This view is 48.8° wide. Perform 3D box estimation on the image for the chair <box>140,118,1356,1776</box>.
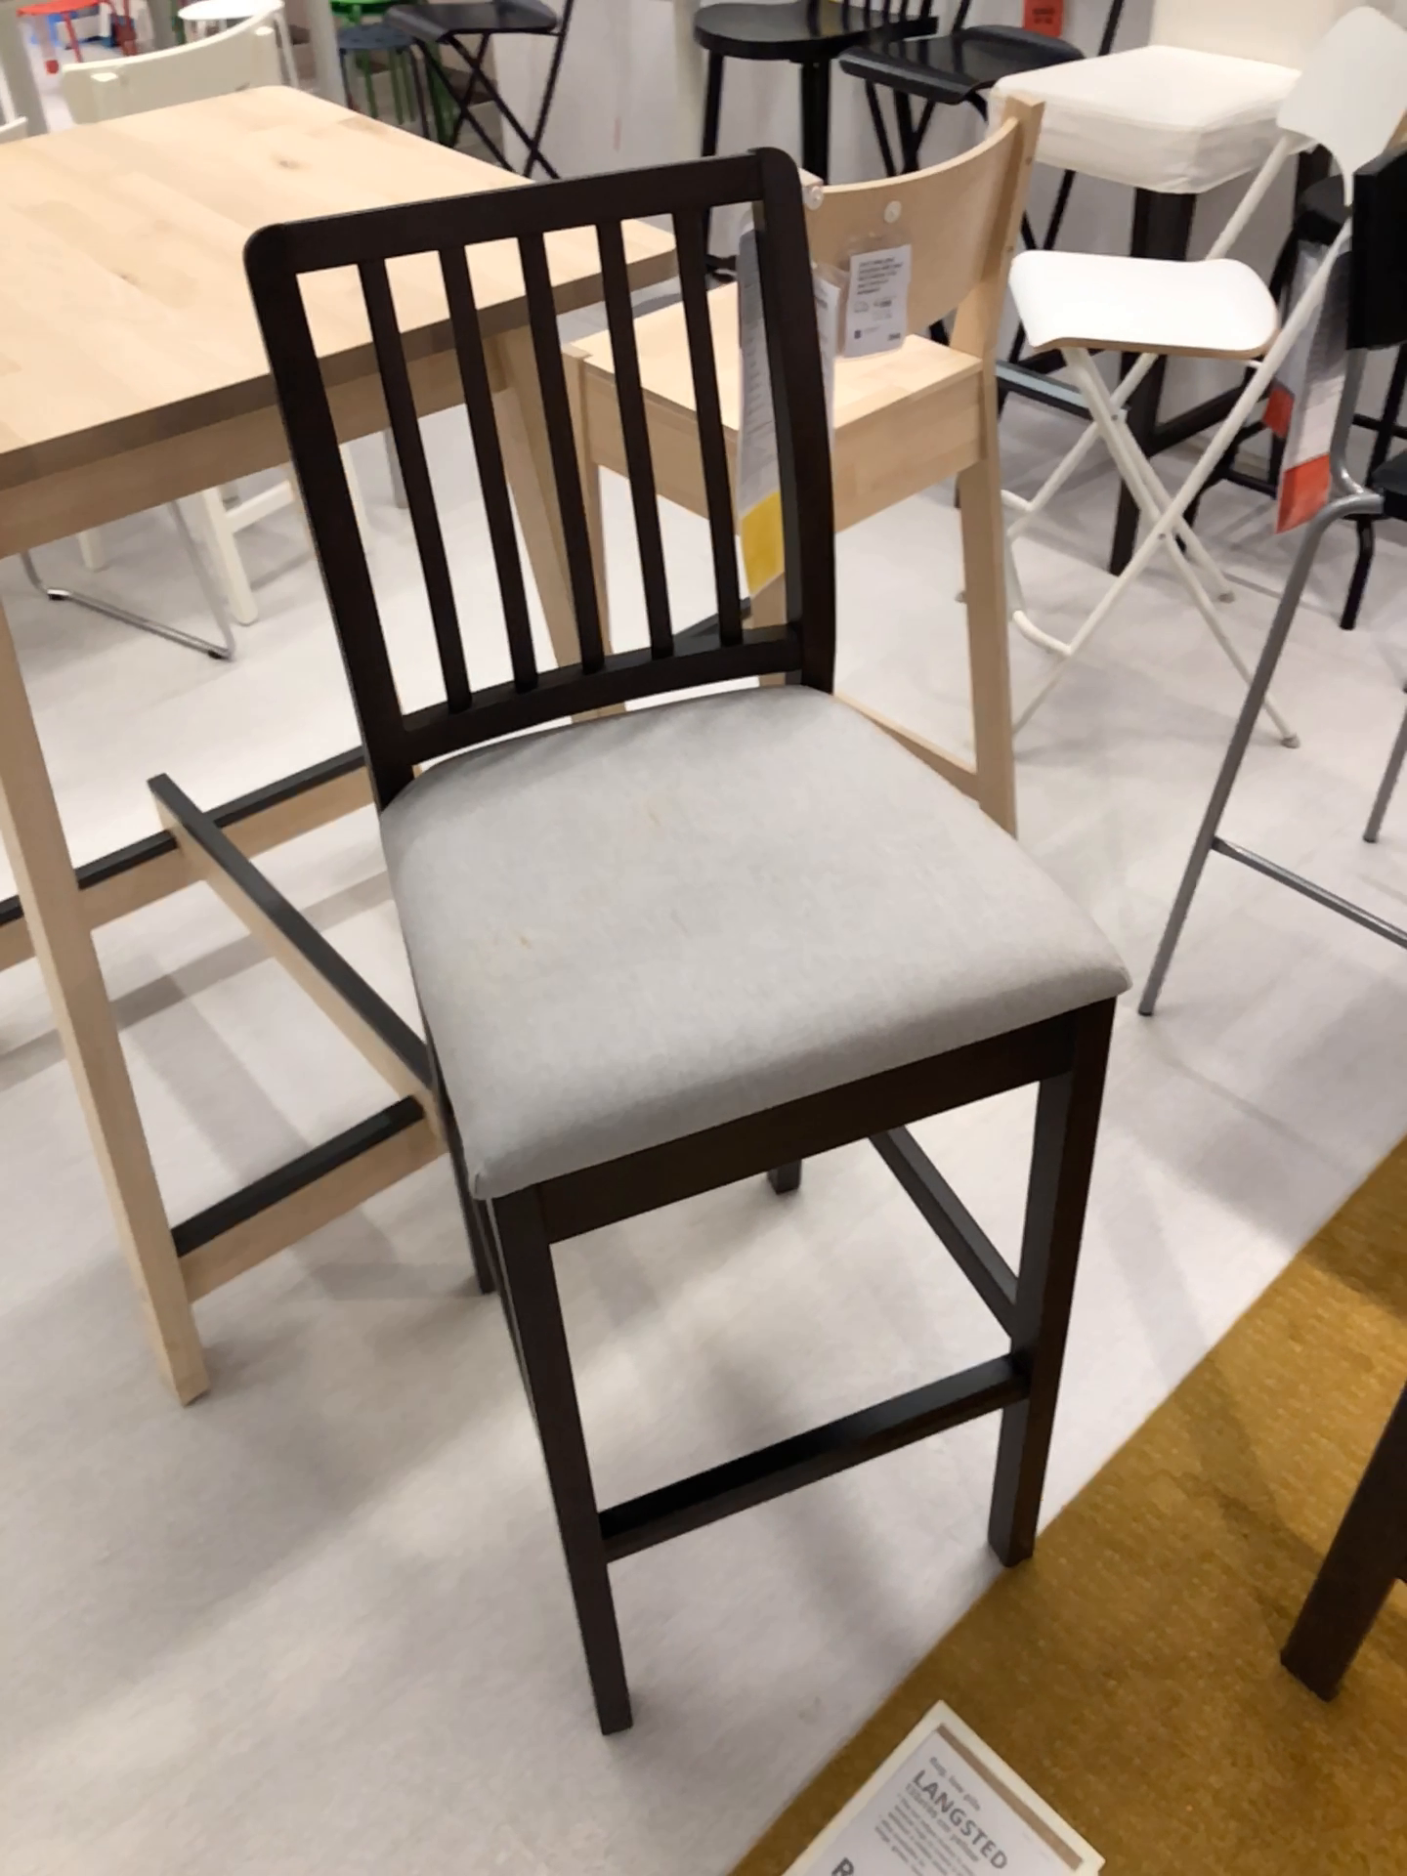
[{"bbox_3d":[-0.007,0.062,1.207,0.480,1.093,0.563,-17,43,-15],"label":"chair"}]
